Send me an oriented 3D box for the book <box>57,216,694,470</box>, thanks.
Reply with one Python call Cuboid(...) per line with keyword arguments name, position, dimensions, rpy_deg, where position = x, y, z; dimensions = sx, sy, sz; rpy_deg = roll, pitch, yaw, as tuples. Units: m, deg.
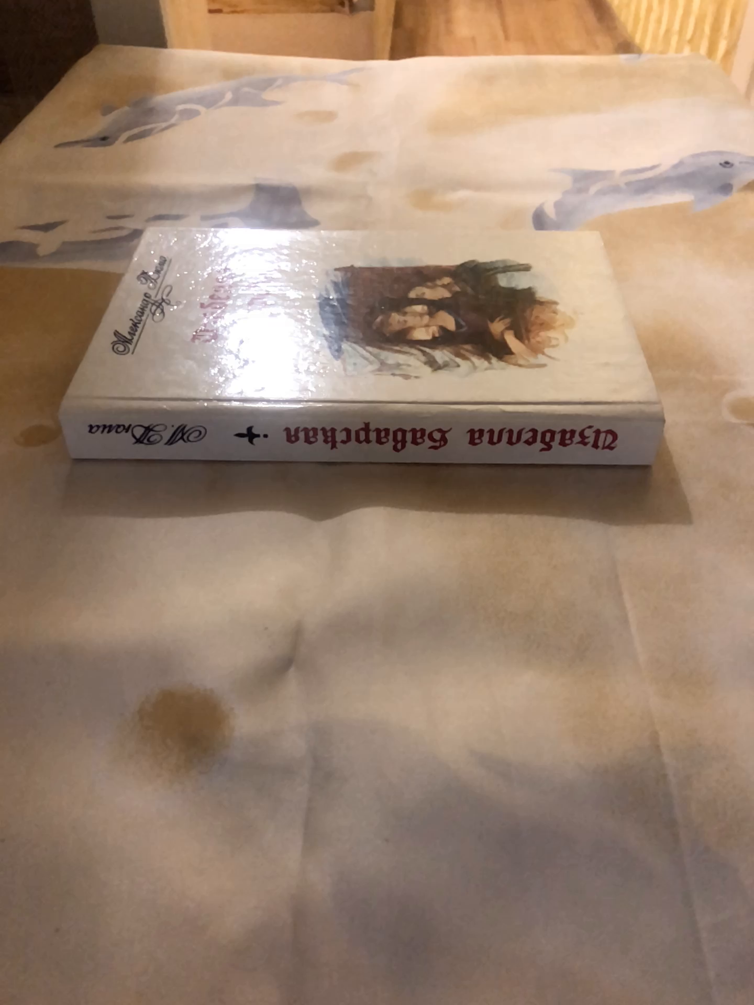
Cuboid(name="book", position=(-0.001, -0.070, 0.334), dimensions=(0.208, 0.026, 0.140), rpy_deg=(0, 44, 0))
